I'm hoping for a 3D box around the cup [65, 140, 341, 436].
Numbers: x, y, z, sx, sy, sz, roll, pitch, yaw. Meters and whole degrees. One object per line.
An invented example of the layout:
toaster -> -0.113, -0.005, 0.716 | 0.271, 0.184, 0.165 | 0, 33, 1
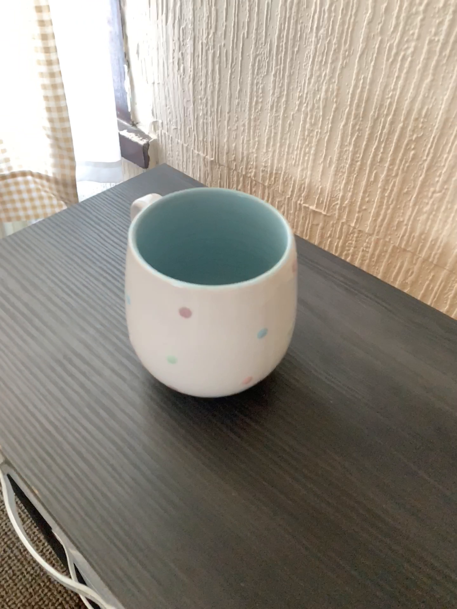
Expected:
cup -> -0.022, -0.018, 0.291 | 0.100, 0.099, 0.131 | -22, 50, -23
